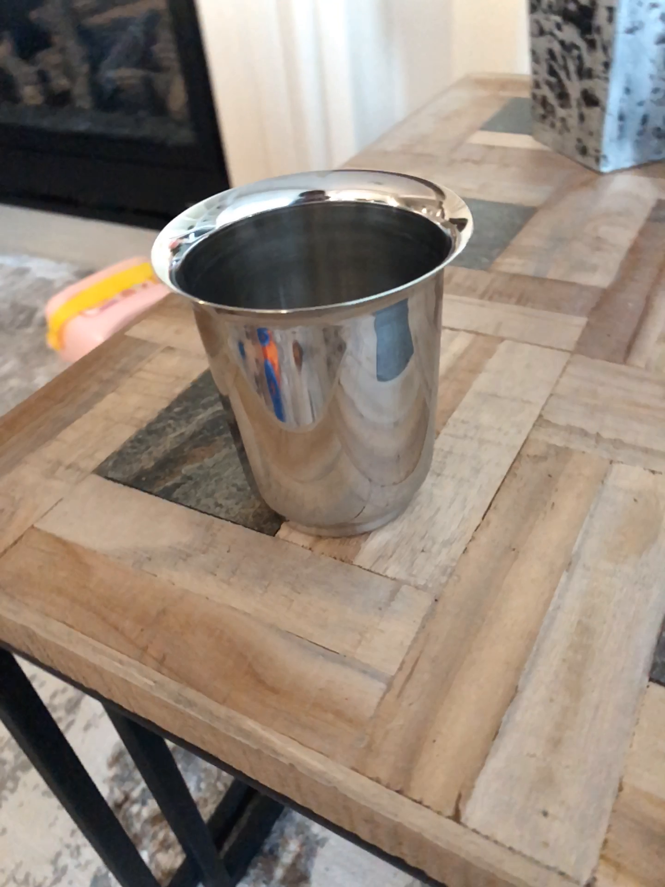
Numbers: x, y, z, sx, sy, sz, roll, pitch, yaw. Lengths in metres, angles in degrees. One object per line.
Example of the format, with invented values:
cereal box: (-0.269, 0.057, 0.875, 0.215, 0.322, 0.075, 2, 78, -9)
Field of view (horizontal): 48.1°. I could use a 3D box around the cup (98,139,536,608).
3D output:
cup: (-0.003, -0.026, 0.223, 0.084, 0.088, 0.083, -4, 40, 4)
